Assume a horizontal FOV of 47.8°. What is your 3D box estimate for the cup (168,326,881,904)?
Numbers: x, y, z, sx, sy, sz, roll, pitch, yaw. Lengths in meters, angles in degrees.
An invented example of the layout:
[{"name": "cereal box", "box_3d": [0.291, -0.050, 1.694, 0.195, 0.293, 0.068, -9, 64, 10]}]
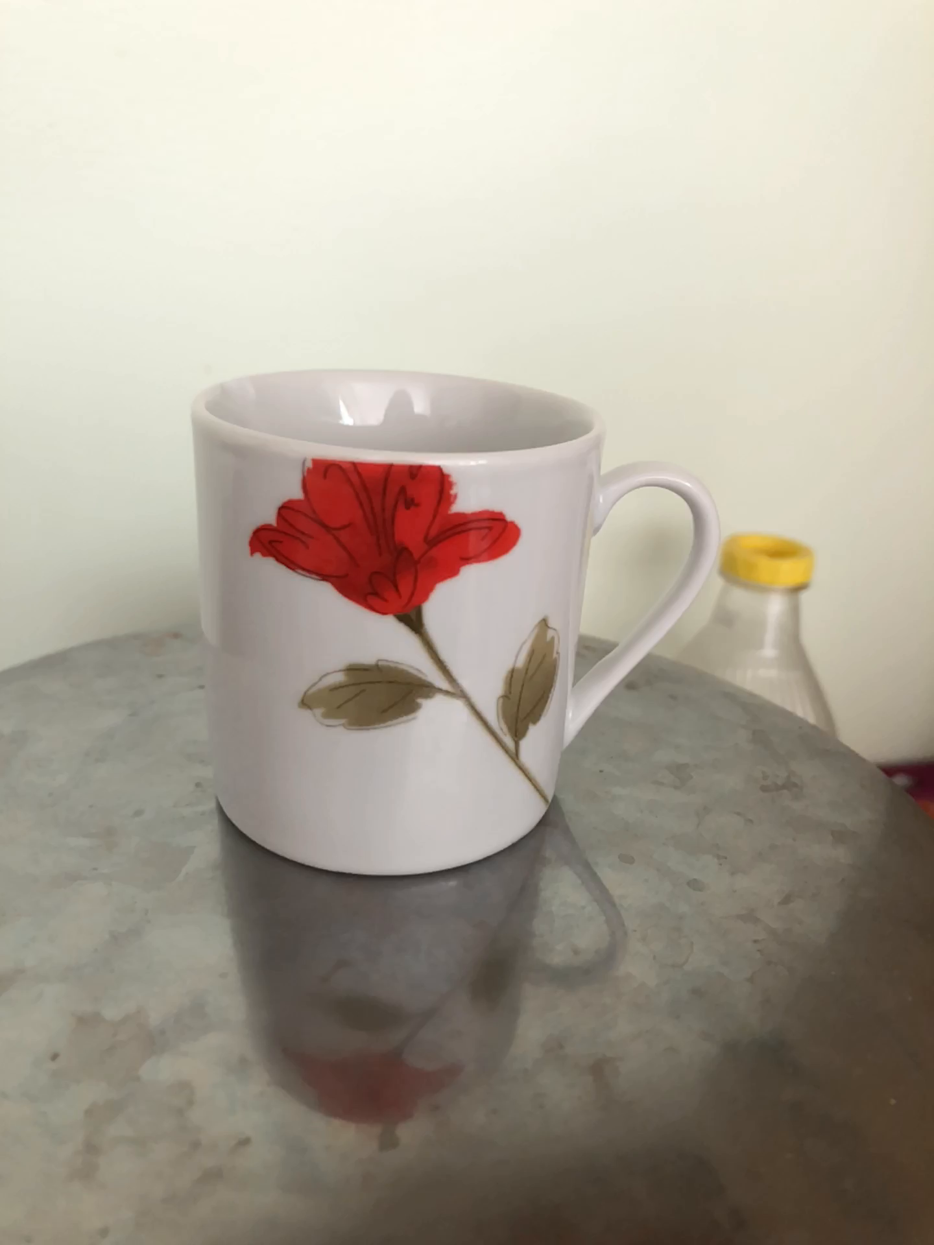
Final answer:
[{"name": "cup", "box_3d": [0.001, -0.006, 0.152, 0.080, 0.060, 0.060, 0, 23, -13]}]
